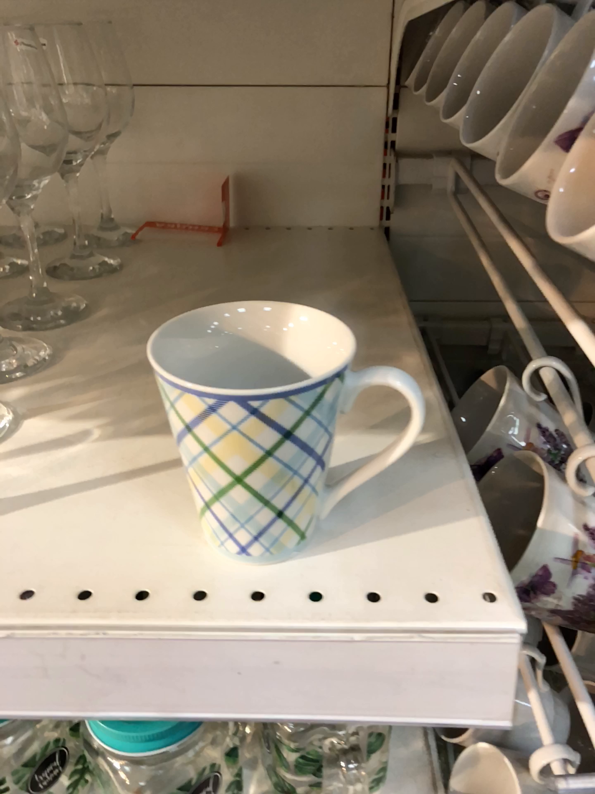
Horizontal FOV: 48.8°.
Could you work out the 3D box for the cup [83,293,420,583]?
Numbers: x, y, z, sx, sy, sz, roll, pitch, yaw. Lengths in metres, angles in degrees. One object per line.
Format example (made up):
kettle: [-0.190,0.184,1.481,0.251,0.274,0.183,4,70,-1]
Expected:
cup: [-0.014,0.013,0.283,0.115,0.085,0.089,2,30,3]
